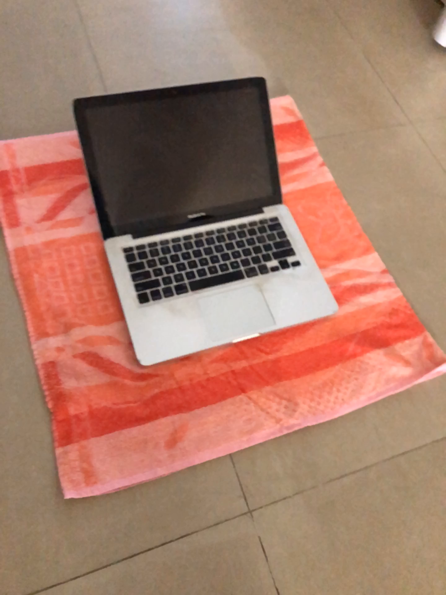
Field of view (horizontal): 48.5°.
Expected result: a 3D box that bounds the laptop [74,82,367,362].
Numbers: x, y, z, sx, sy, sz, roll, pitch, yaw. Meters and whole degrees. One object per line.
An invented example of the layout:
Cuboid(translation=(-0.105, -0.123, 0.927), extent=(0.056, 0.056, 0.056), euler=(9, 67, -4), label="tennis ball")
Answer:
Cuboid(translation=(-0.024, -0.135, 0.754), extent=(0.310, 0.133, 0.373), euler=(-14, 63, -16), label="laptop")
